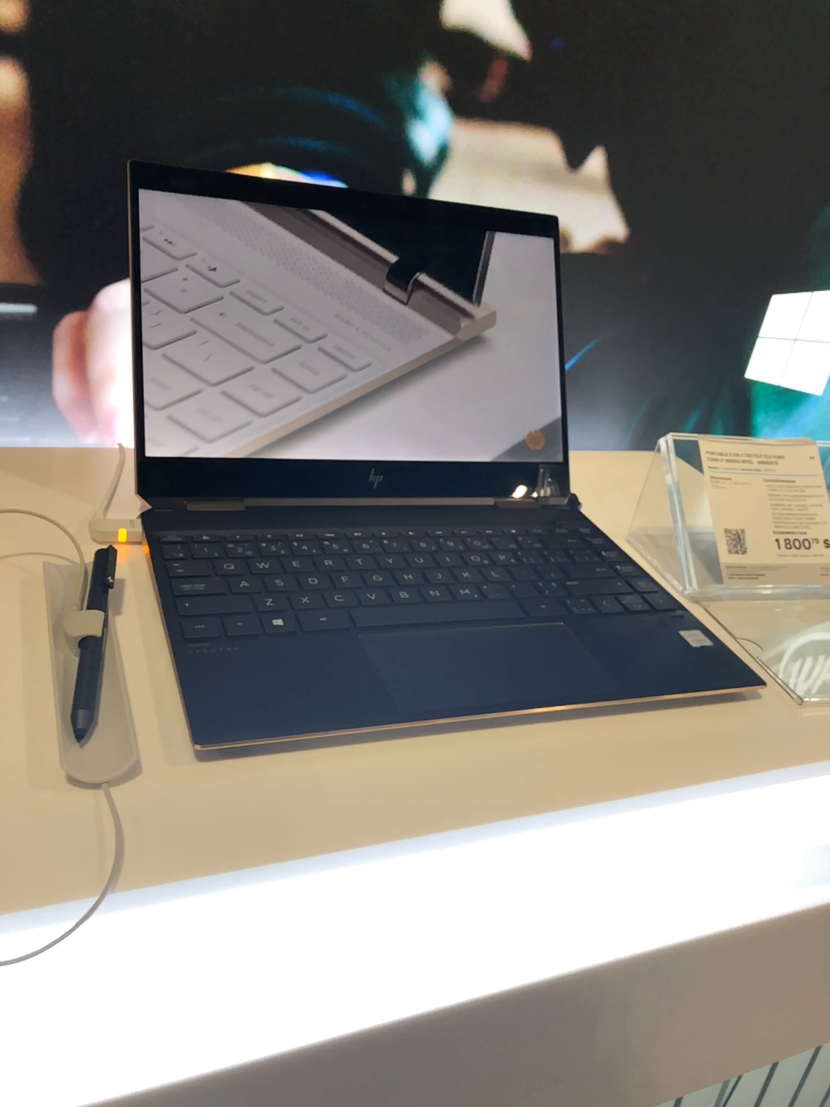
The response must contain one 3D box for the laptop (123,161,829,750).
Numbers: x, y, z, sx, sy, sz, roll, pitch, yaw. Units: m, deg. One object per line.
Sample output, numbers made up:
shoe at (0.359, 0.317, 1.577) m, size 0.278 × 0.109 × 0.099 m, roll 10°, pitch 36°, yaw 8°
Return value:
laptop at (0.007, -0.087, 0.530) m, size 0.305 × 0.172 × 0.347 m, roll -2°, pitch 30°, yaw -23°
